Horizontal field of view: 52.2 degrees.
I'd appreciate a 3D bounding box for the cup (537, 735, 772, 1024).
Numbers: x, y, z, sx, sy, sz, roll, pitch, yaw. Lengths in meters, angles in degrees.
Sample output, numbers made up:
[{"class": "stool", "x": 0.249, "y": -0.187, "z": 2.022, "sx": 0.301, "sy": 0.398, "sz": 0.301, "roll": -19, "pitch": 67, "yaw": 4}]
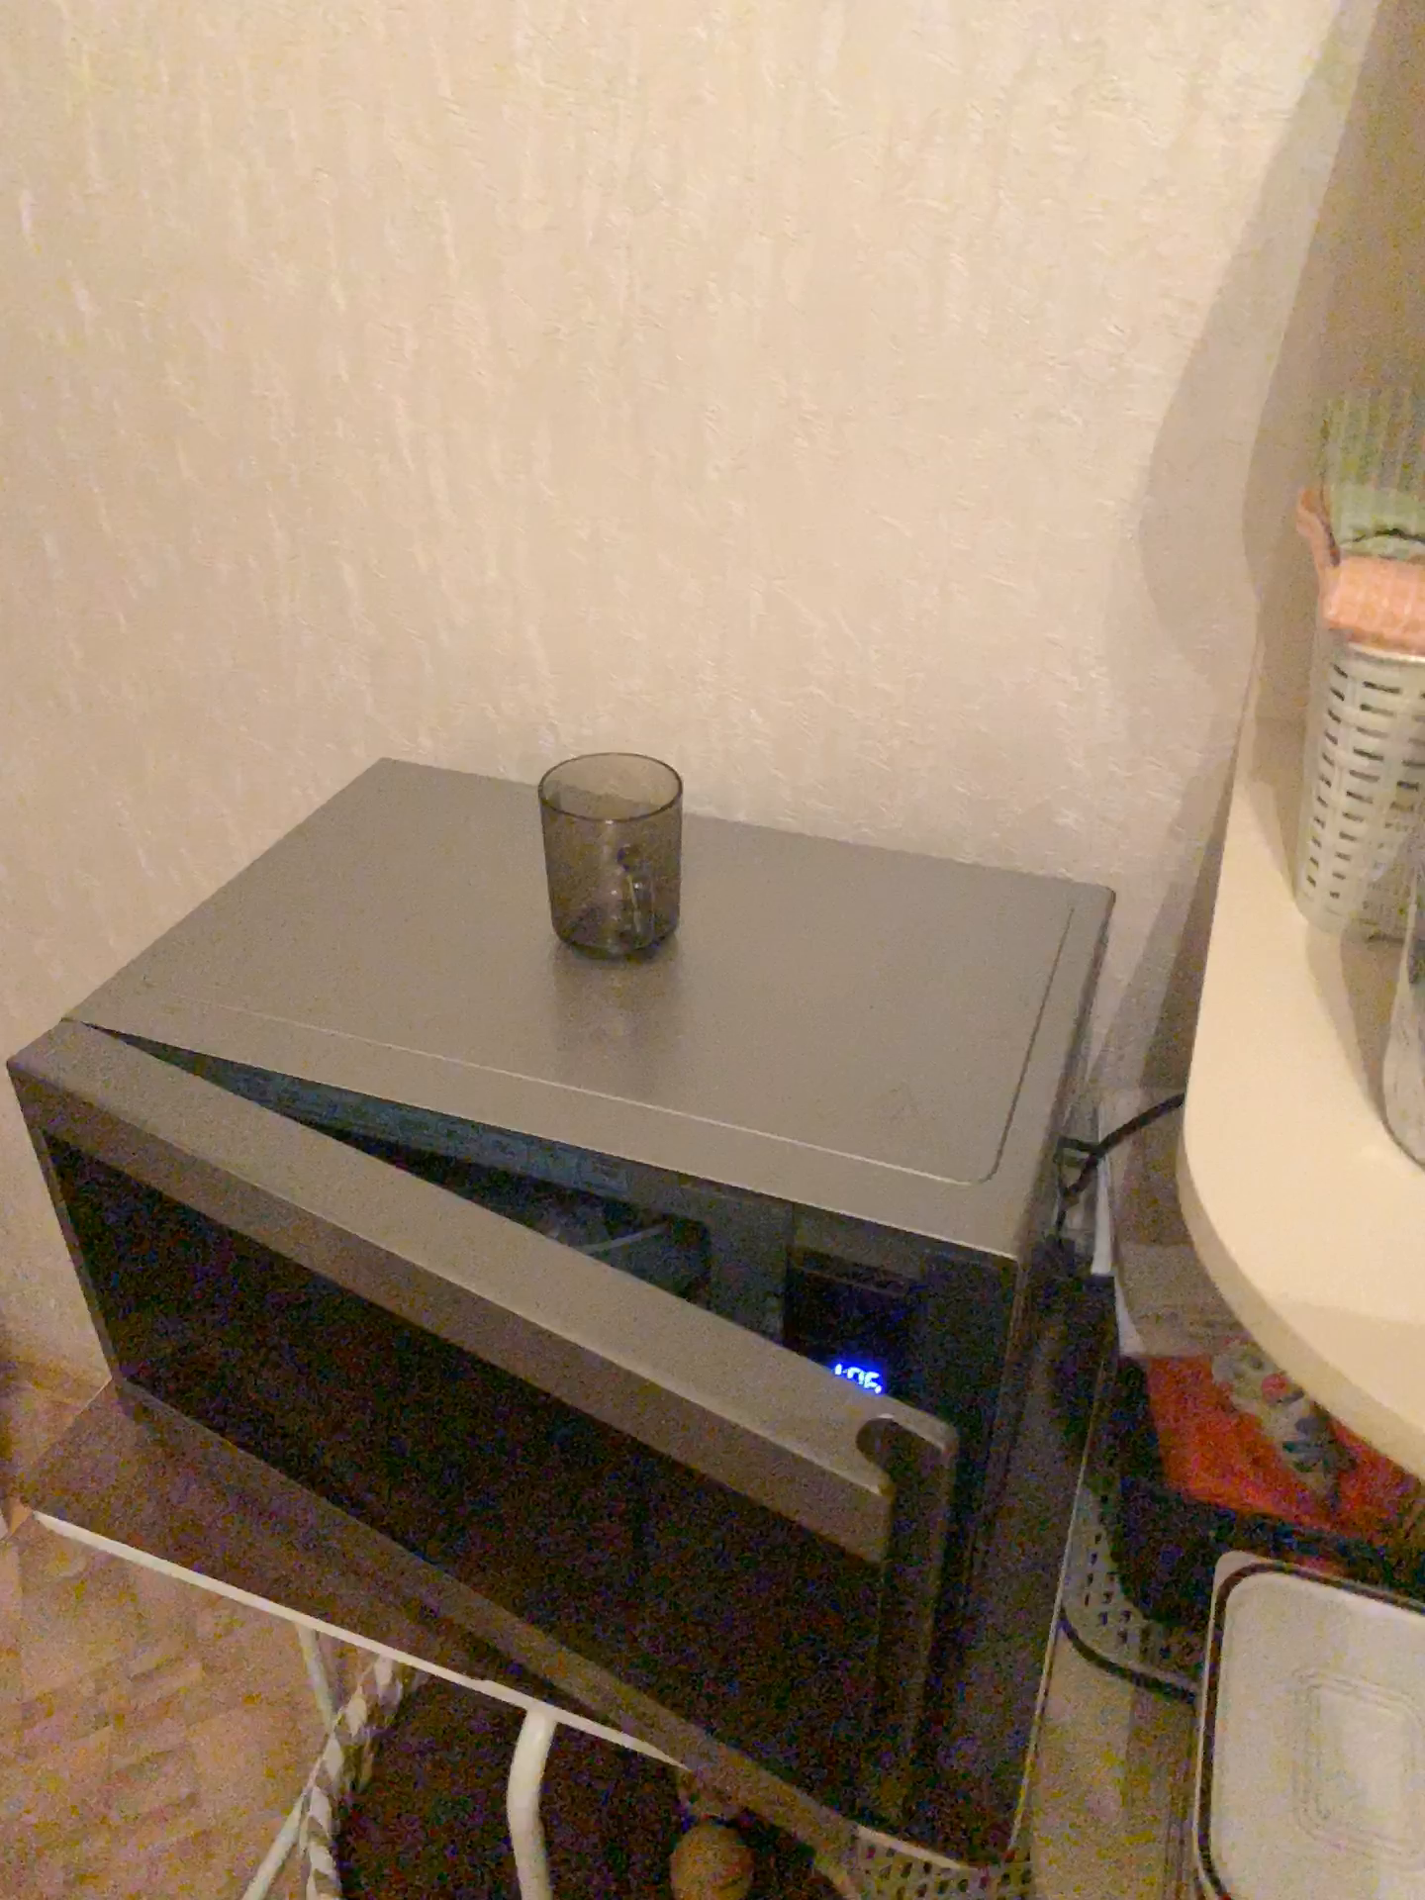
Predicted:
[{"class": "cup", "x": -0.030, "y": -0.038, "z": 0.735, "sx": 0.078, "sy": 0.094, "sz": 0.102, "roll": -17, "pitch": 37, "yaw": -23}]
